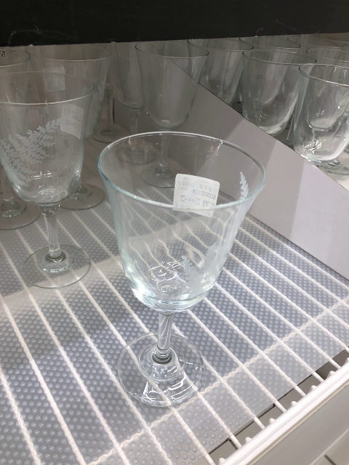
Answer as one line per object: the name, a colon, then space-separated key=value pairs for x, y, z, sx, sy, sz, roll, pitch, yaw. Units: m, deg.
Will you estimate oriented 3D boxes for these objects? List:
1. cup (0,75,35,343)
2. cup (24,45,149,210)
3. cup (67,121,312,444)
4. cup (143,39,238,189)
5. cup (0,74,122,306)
cup: x=-0.165 y=-0.019 z=0.269 sx=0.087 sy=0.146 sz=0.079 roll=3 pitch=34 yaw=-2
cup: x=-0.089 y=-0.112 z=0.403 sx=0.089 sy=0.136 sz=0.087 roll=3 pitch=34 yaw=-2
cup: x=0.000 y=0.027 z=0.237 sx=0.089 sy=0.156 sz=0.087 roll=3 pitch=34 yaw=-2
cup: x=0.009 y=-0.123 z=0.403 sx=0.069 sy=0.126 sz=0.087 roll=-3 pitch=35 yaw=-12
cup: x=-0.104 y=-0.038 z=0.323 sx=0.087 sy=0.155 sz=0.089 roll=3 pitch=34 yaw=-2
